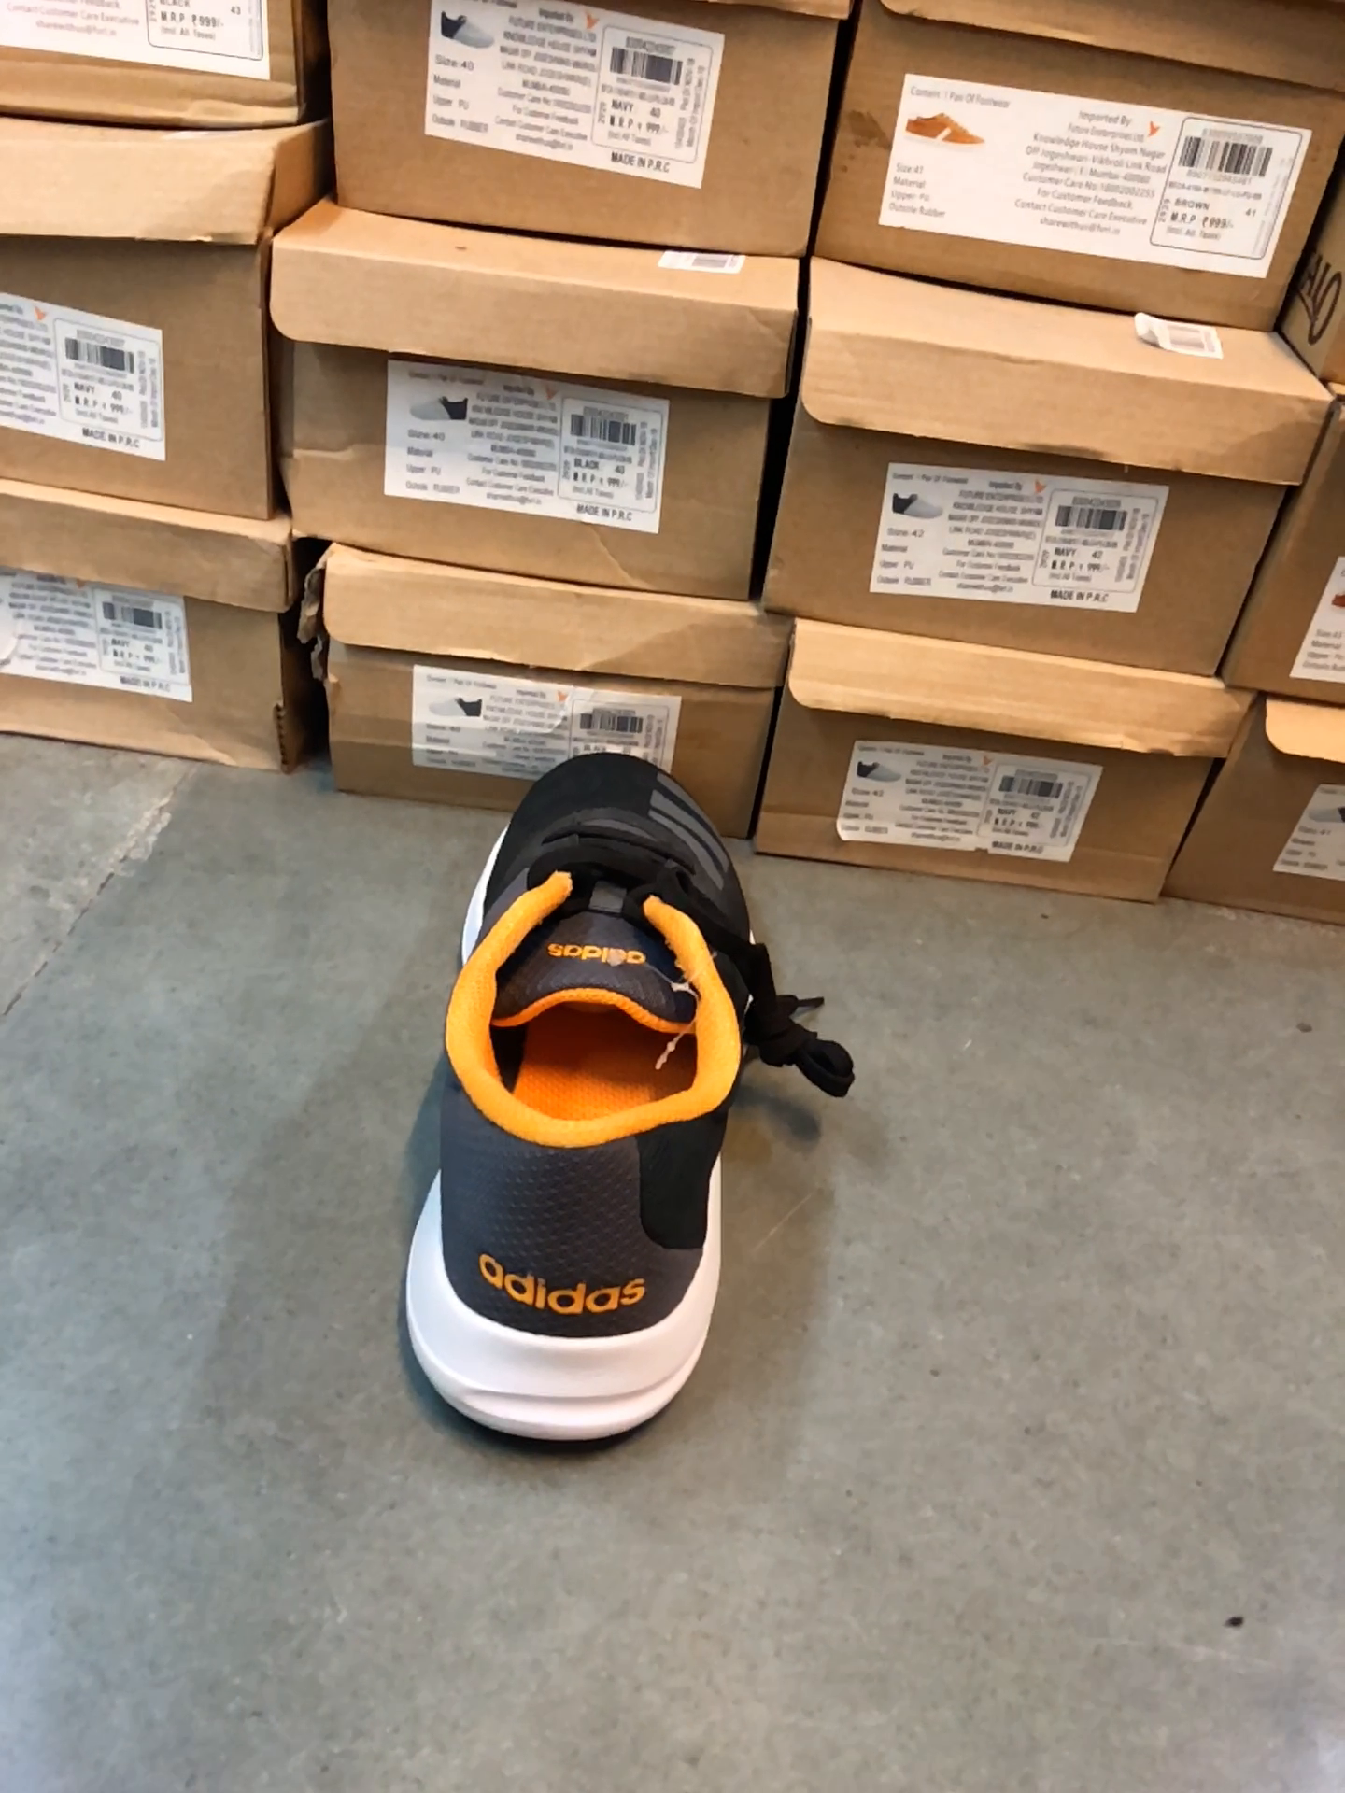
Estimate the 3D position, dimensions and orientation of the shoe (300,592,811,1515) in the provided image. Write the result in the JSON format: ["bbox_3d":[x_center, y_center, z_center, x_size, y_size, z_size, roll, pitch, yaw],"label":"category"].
[{"bbox_3d":[-0.026,0.027,0.459,0.110,0.116,0.272,7,38,-3],"label":"shoe"}]
